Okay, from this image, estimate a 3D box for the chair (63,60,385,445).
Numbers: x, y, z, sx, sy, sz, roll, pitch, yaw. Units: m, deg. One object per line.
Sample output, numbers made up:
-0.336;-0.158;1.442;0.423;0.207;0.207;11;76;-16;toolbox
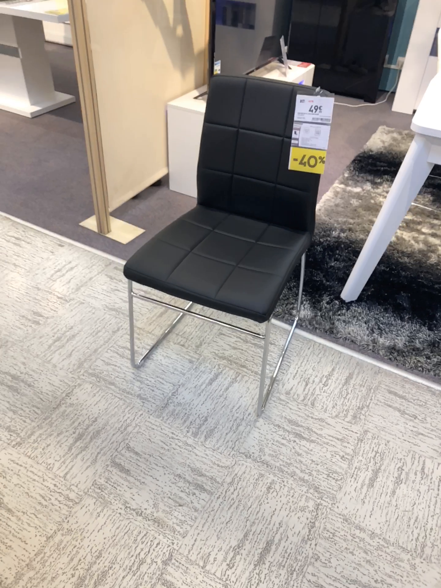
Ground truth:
0.037;-0.150;1.409;0.550;0.795;0.634;20;41;20;chair
